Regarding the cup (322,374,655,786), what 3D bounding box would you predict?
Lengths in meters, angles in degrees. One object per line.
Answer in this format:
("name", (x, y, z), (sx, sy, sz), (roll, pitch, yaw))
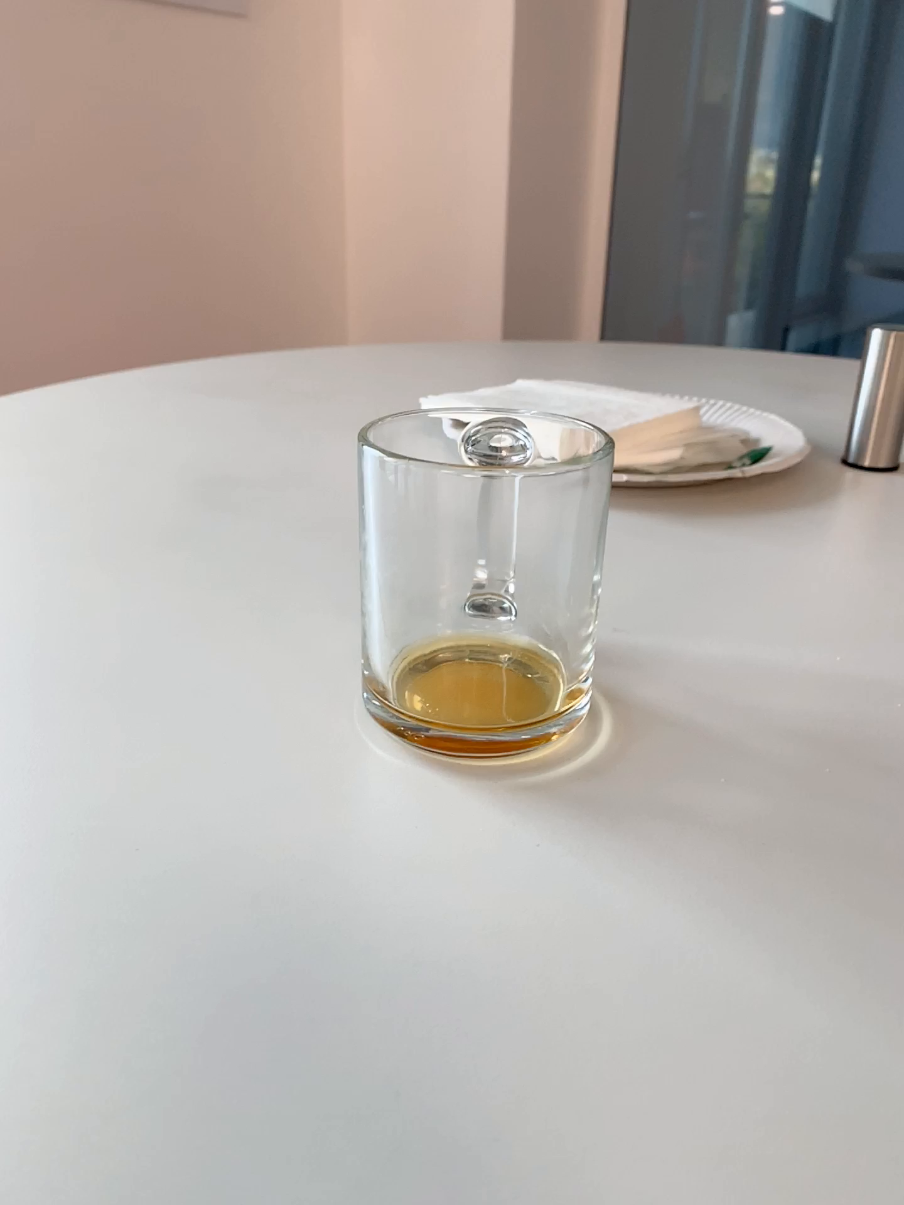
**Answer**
("cup", (0.017, -0.015, 0.297), (0.082, 0.090, 0.102), (6, 25, 11))
